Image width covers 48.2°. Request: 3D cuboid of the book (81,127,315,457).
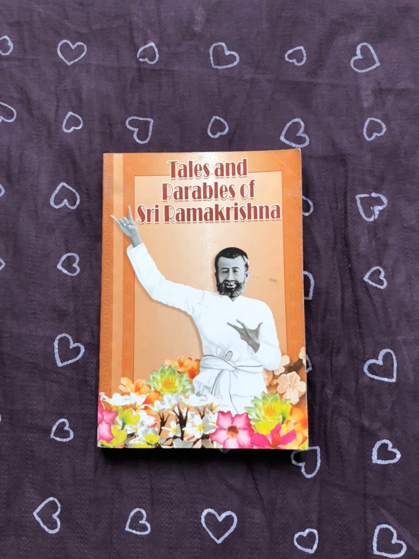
[{"bbox_3d":[-0.007,0.005,0.281,0.130,0.020,0.190,-1,83,2],"label":"book"}]
